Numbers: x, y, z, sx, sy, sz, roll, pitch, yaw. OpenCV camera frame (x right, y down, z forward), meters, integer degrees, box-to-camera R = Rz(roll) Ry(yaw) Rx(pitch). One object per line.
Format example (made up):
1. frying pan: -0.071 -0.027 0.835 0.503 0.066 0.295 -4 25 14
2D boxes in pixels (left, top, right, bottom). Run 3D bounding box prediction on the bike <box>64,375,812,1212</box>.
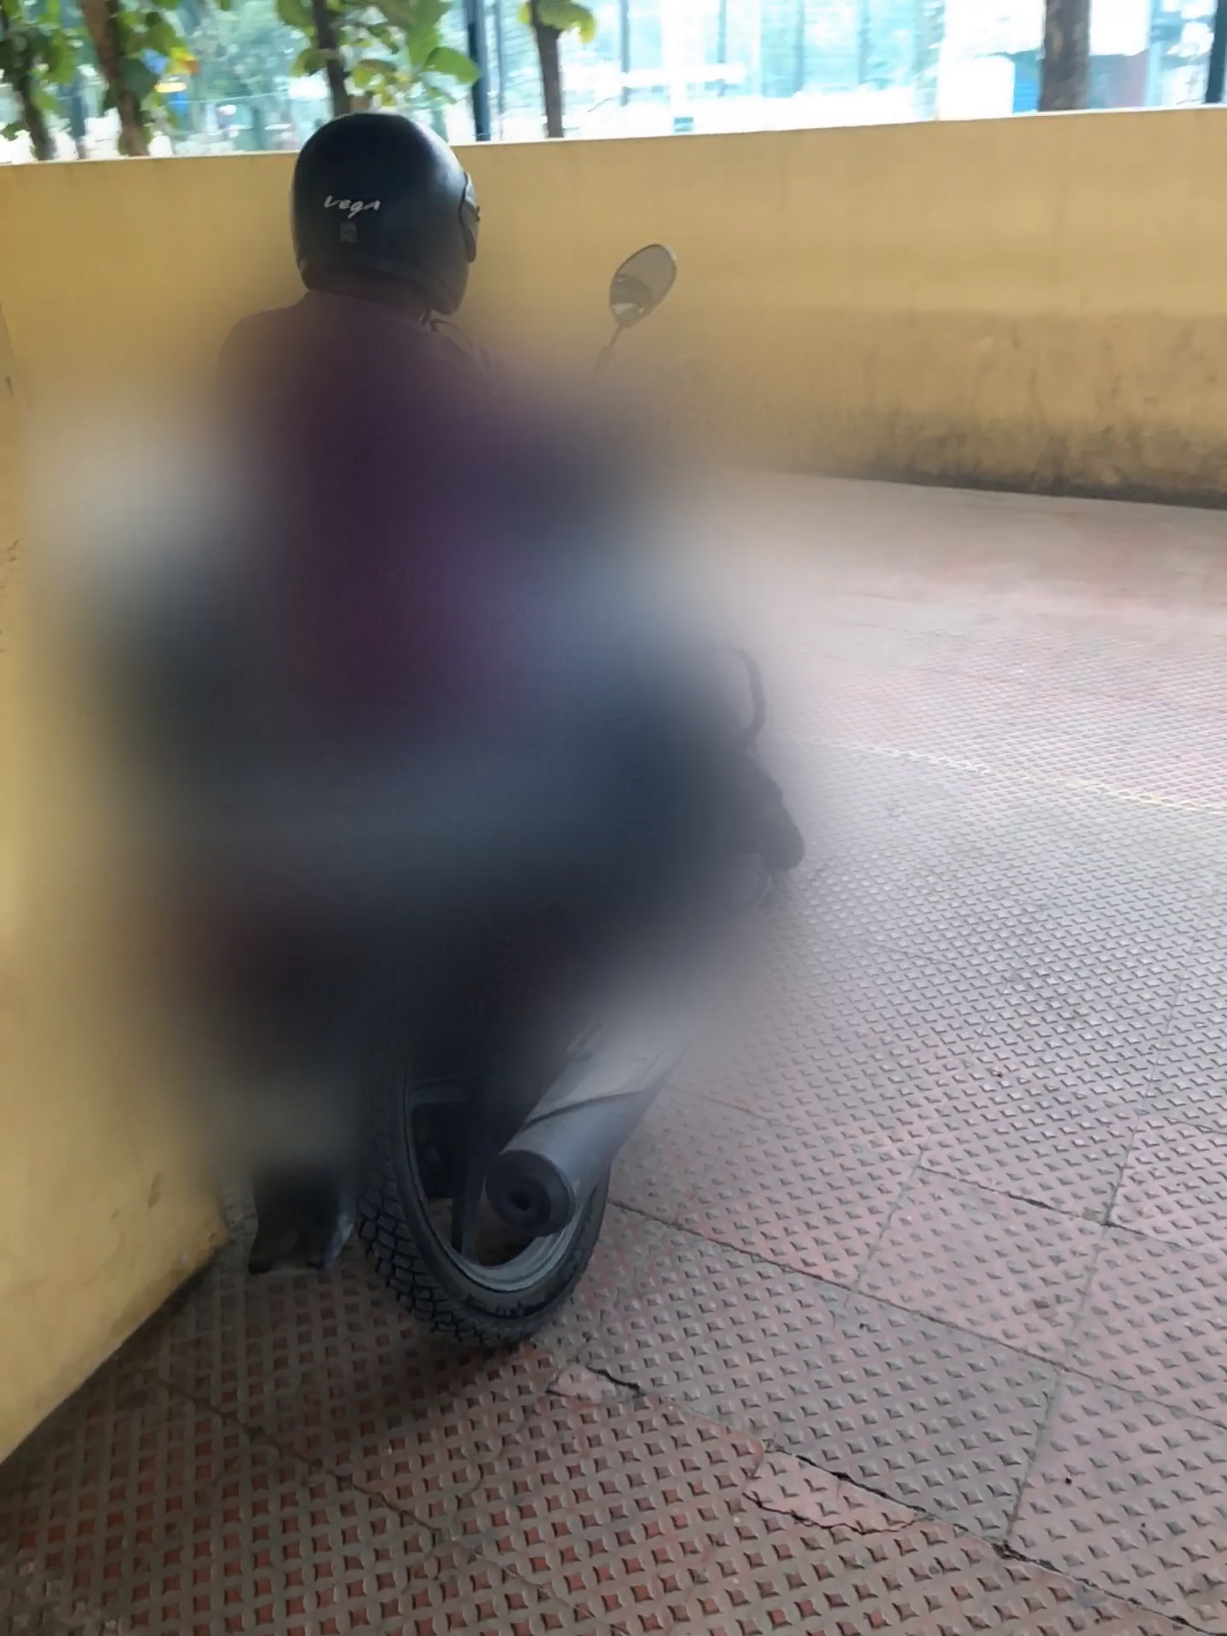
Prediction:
1. bike: -0.126 -0.166 2.322 0.699 0.999 1.244 6 27 17
